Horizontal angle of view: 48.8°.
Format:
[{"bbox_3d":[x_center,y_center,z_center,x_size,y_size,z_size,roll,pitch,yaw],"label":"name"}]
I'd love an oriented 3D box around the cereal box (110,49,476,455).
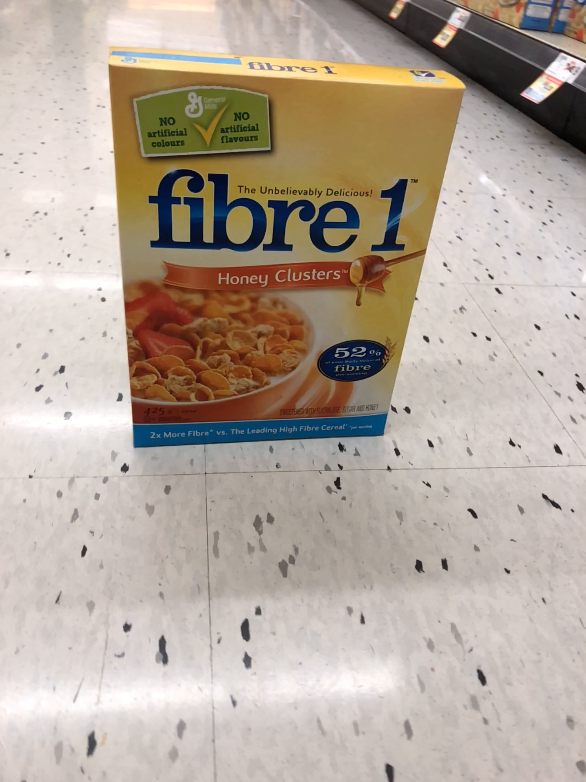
[{"bbox_3d":[-0.011,-0.072,0.421,0.190,0.248,0.050,-2,37,-12],"label":"cereal box"}]
